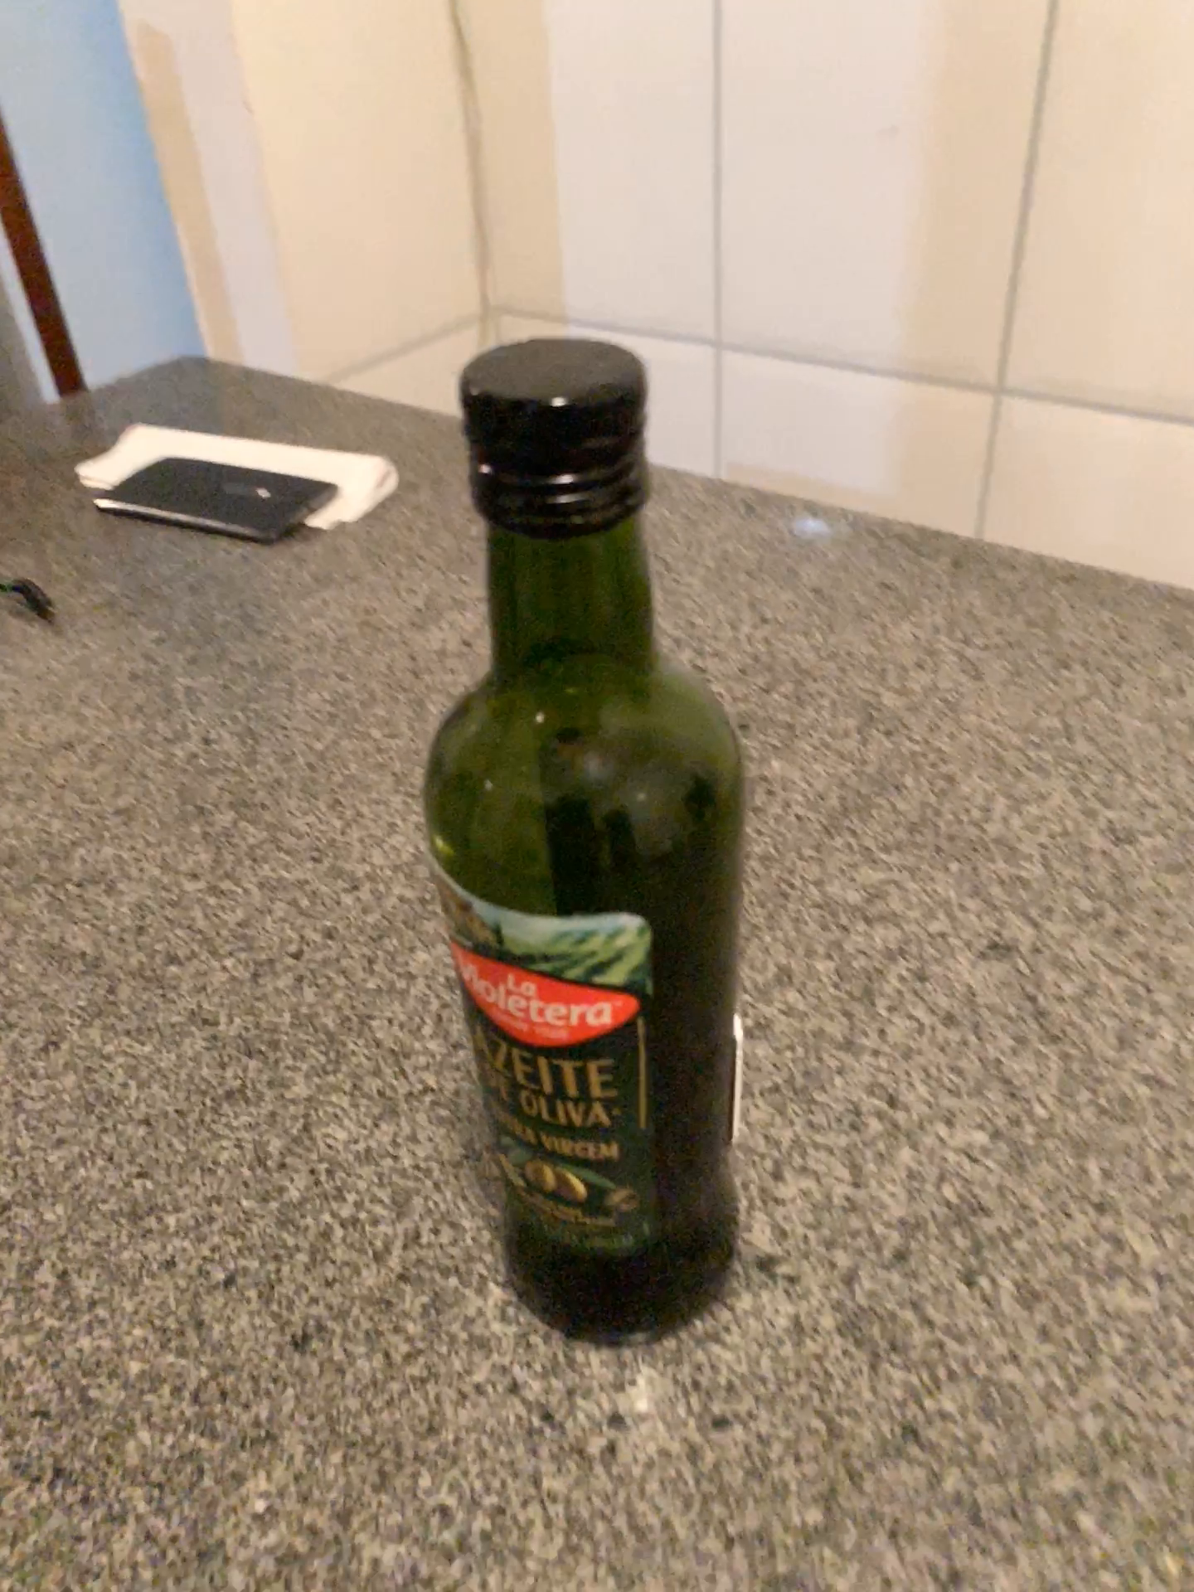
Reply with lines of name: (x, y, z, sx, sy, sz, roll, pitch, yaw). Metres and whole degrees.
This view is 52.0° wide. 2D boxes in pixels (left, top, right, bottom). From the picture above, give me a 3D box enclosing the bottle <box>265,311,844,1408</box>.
bottle: (0.001, 0.031, 0.264, 0.070, 0.239, 0.060, 16, 42, 24)
